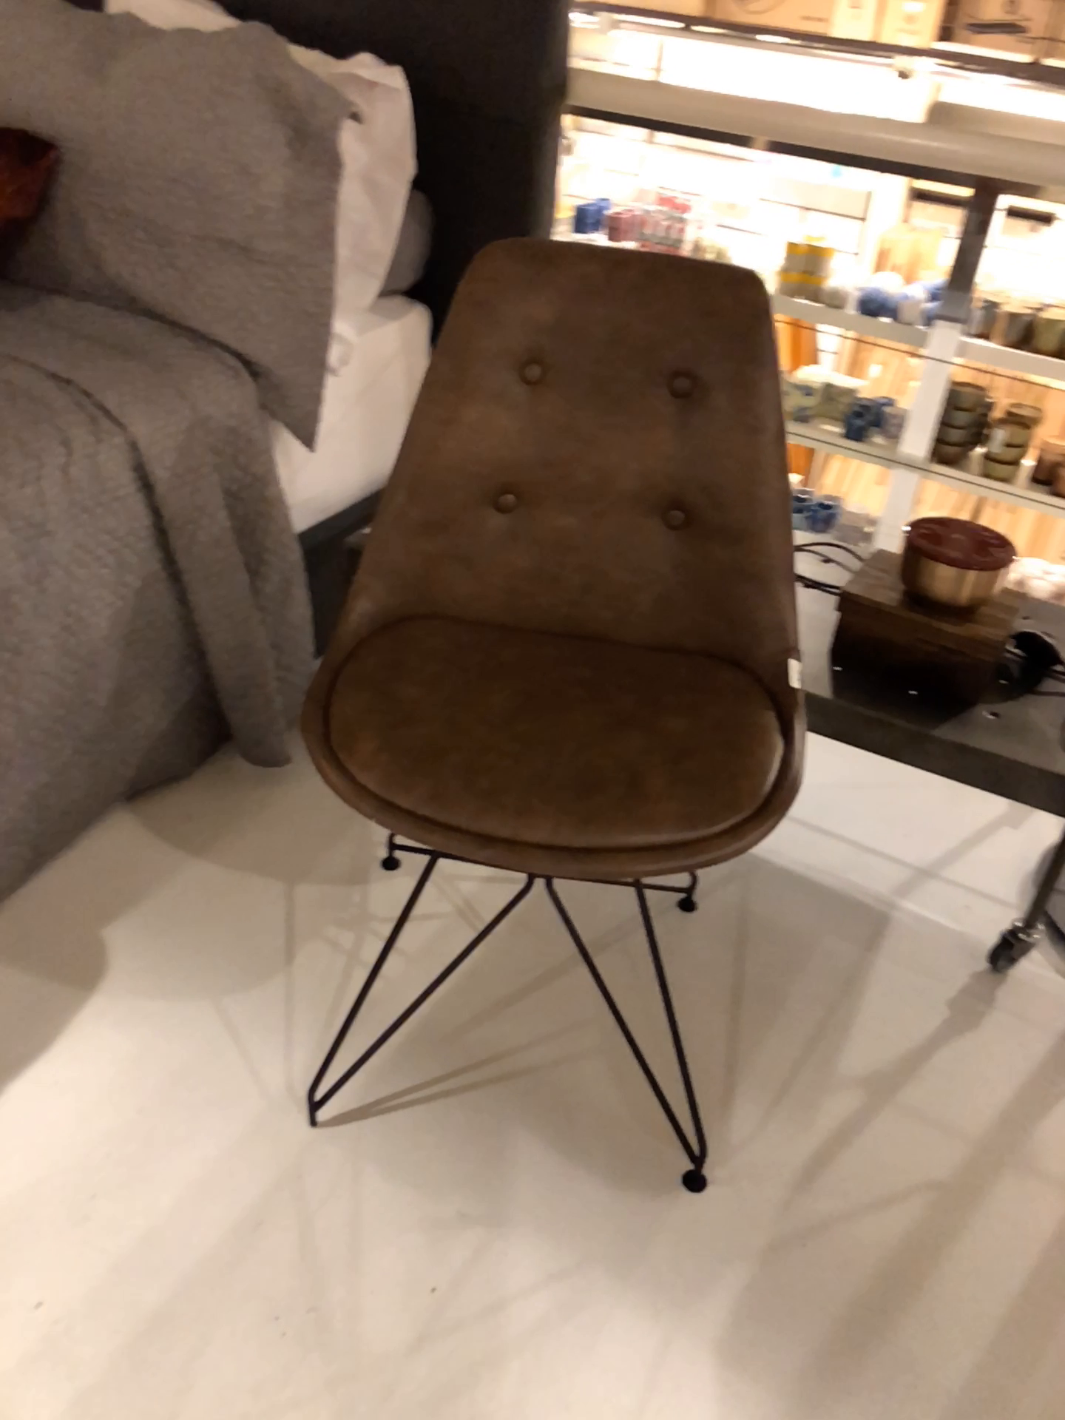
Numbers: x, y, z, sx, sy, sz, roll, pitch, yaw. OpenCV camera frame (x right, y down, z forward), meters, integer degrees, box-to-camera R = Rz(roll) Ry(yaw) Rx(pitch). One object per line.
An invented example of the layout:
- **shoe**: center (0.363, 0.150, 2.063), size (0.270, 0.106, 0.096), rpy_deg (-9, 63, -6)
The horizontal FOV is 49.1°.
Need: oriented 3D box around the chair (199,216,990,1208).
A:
- **chair**: center (0.036, -0.015, 1.180), size (0.510, 0.754, 0.554), rpy_deg (9, 33, 3)
